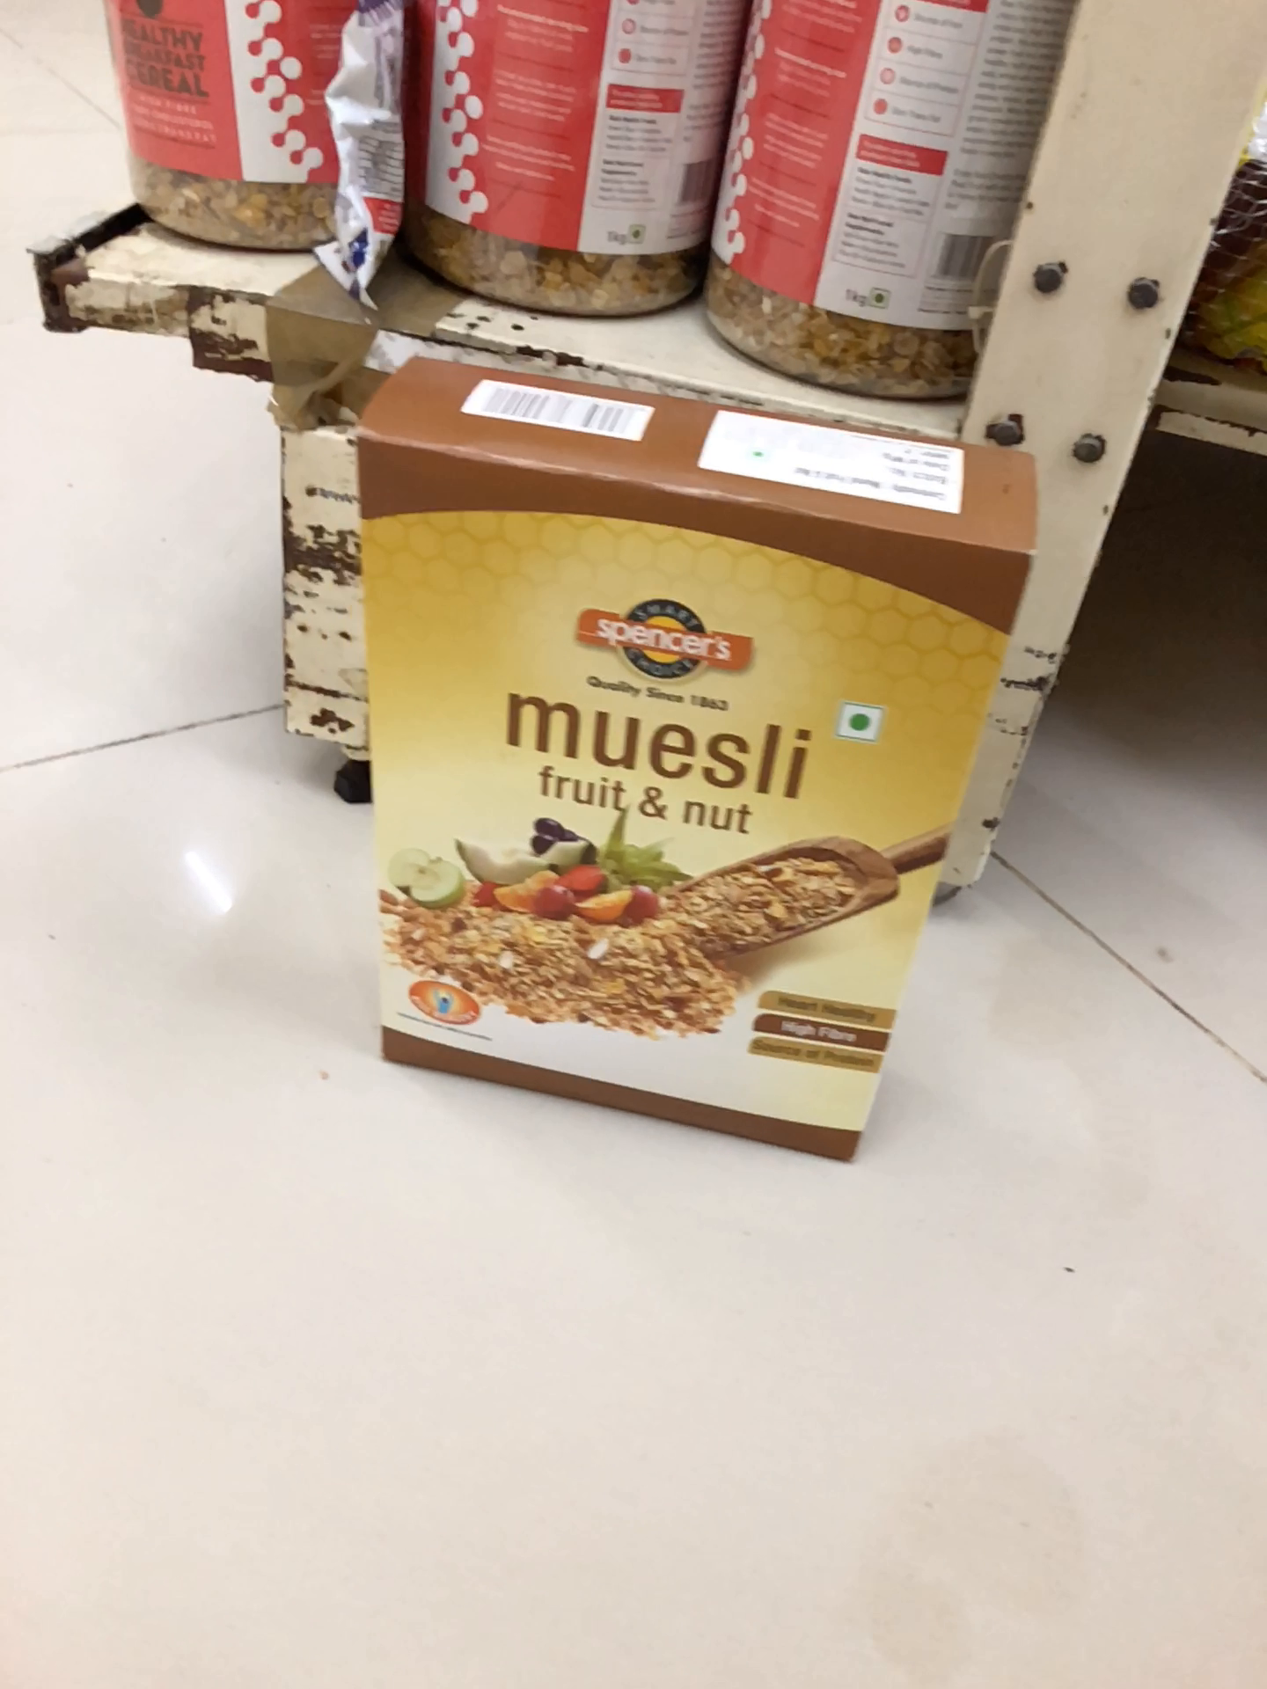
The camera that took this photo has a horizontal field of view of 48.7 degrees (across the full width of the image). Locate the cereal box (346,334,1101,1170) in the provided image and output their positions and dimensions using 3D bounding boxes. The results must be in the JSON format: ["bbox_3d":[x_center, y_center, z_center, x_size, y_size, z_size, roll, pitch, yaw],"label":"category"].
[{"bbox_3d":[0.015,-0.017,0.442,0.190,0.238,0.060,11,38,6],"label":"cereal box"}]
